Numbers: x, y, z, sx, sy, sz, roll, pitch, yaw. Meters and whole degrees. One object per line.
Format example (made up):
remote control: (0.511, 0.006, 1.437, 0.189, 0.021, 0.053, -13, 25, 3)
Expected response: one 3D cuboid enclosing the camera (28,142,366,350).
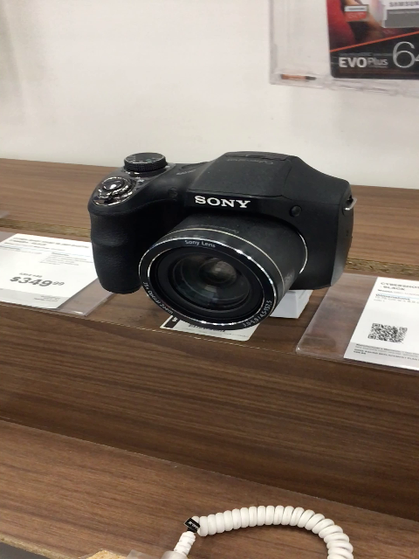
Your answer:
camera: (0.003, -0.027, 0.316, 0.143, 0.072, 0.108, 8, 33, 17)
